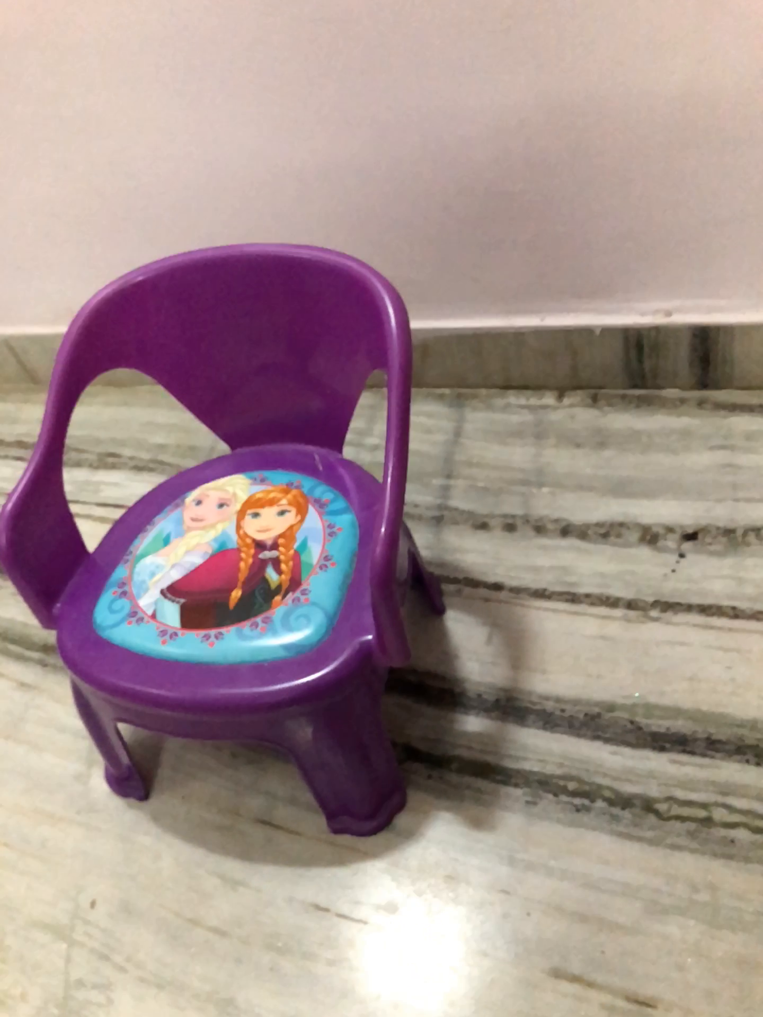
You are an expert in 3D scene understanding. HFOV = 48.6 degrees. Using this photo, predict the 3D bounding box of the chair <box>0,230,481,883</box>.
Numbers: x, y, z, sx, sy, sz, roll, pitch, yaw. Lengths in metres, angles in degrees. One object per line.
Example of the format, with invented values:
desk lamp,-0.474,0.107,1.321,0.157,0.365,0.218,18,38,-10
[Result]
chair,-0.142,0.022,0.734,0.350,0.348,0.392,5,47,19
